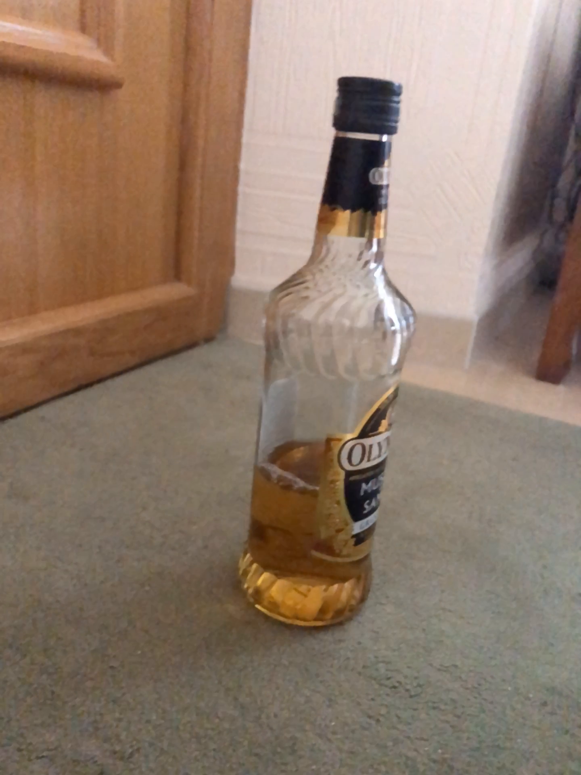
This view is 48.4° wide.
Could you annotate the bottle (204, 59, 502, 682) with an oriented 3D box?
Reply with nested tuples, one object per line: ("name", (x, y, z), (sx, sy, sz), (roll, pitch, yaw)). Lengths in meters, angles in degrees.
("bottle", (0.026, -0.005, 0.343), (0.090, 0.289, 0.091), (6, 20, -2))
